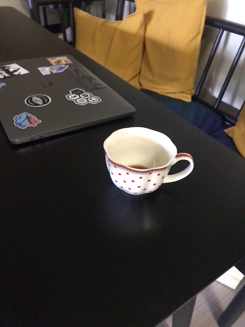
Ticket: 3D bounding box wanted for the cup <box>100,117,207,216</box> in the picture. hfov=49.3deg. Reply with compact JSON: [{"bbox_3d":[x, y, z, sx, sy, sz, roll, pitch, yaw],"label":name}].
[{"bbox_3d":[0.042,-0.001,0.364,0.120,0.069,0.091,14,39,11],"label":"cup"}]
